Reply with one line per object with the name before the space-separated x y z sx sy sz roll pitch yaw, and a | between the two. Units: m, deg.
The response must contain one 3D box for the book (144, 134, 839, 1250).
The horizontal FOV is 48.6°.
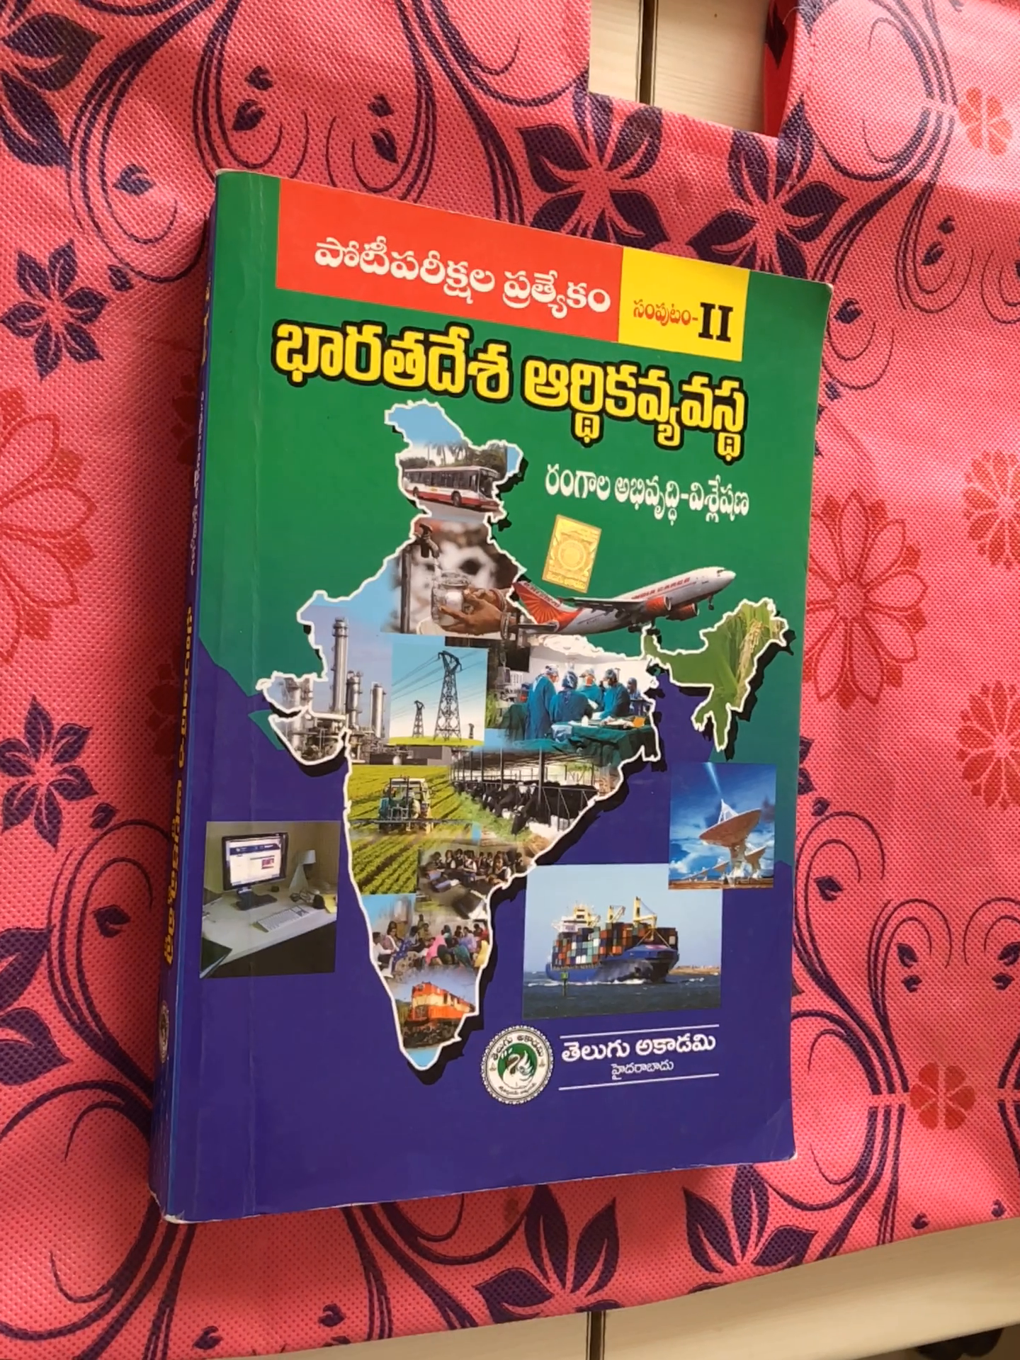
book | 0.000 0.007 0.336 0.190 0.040 0.280 3 89 -21
